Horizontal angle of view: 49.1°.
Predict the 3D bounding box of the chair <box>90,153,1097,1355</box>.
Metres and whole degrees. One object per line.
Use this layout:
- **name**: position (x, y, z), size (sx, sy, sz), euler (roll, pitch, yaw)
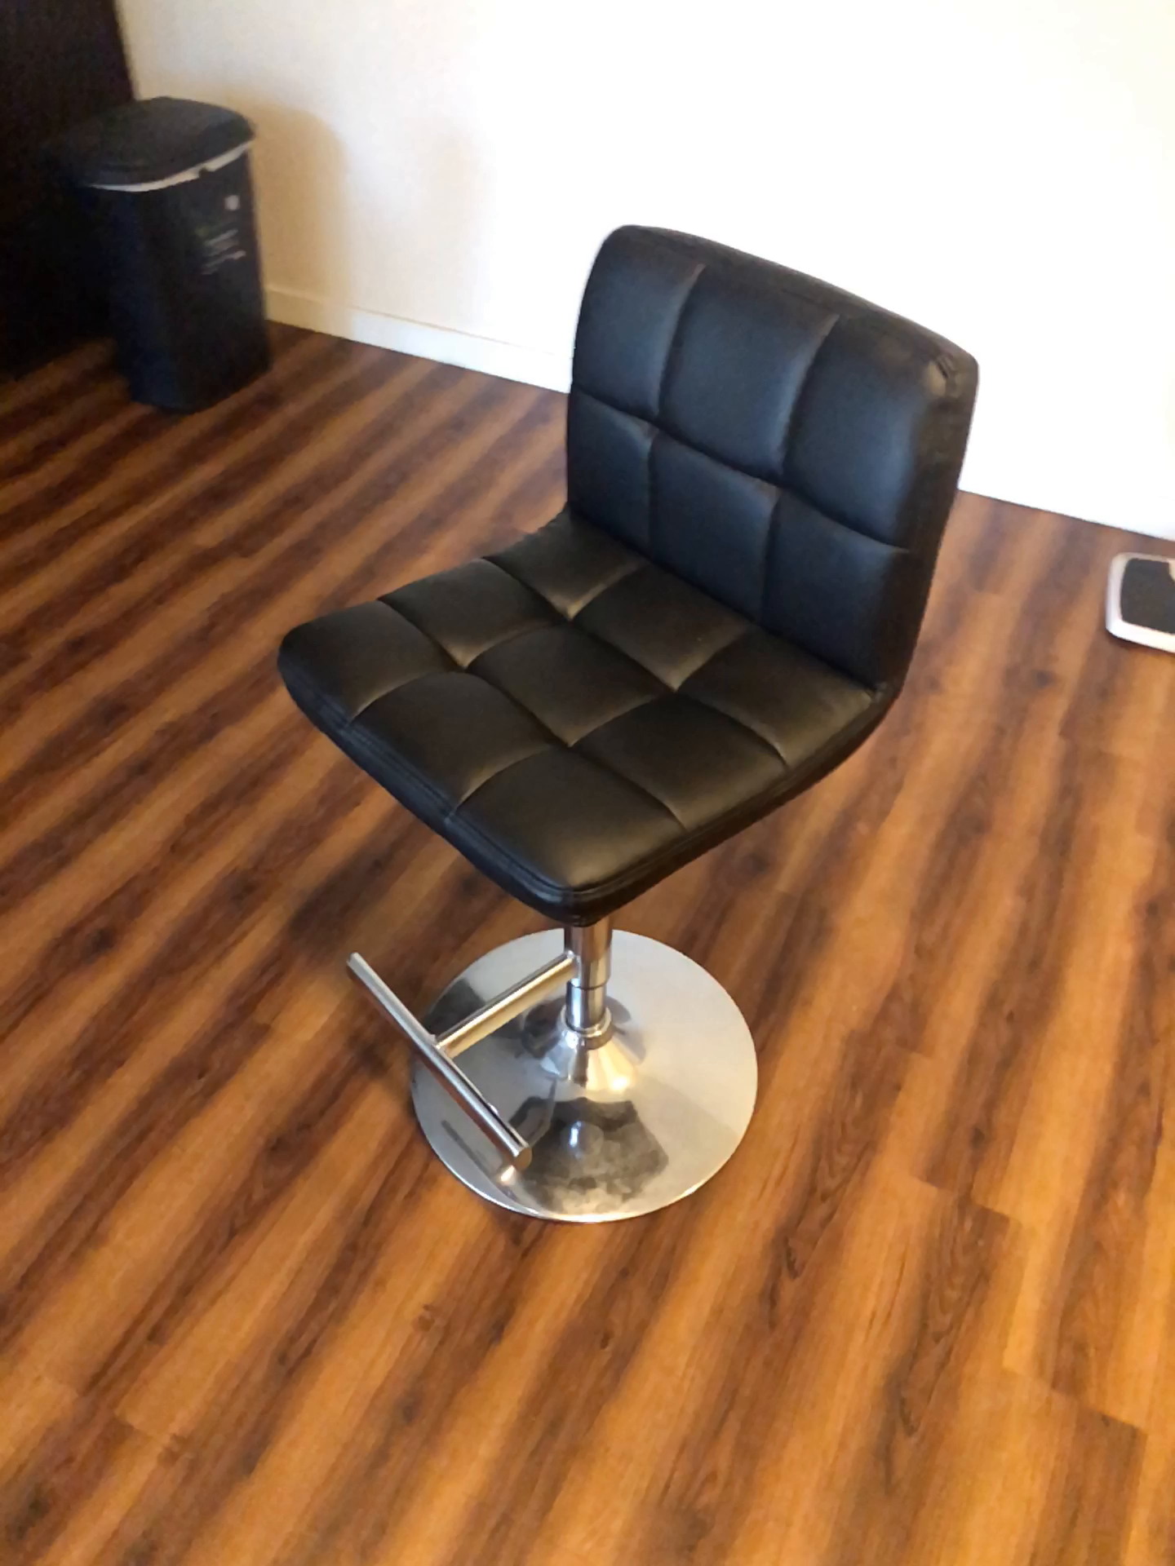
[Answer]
- **chair**: position (-0.006, -0.014, 1.315), size (0.570, 0.953, 0.535), euler (-29, 50, -29)
